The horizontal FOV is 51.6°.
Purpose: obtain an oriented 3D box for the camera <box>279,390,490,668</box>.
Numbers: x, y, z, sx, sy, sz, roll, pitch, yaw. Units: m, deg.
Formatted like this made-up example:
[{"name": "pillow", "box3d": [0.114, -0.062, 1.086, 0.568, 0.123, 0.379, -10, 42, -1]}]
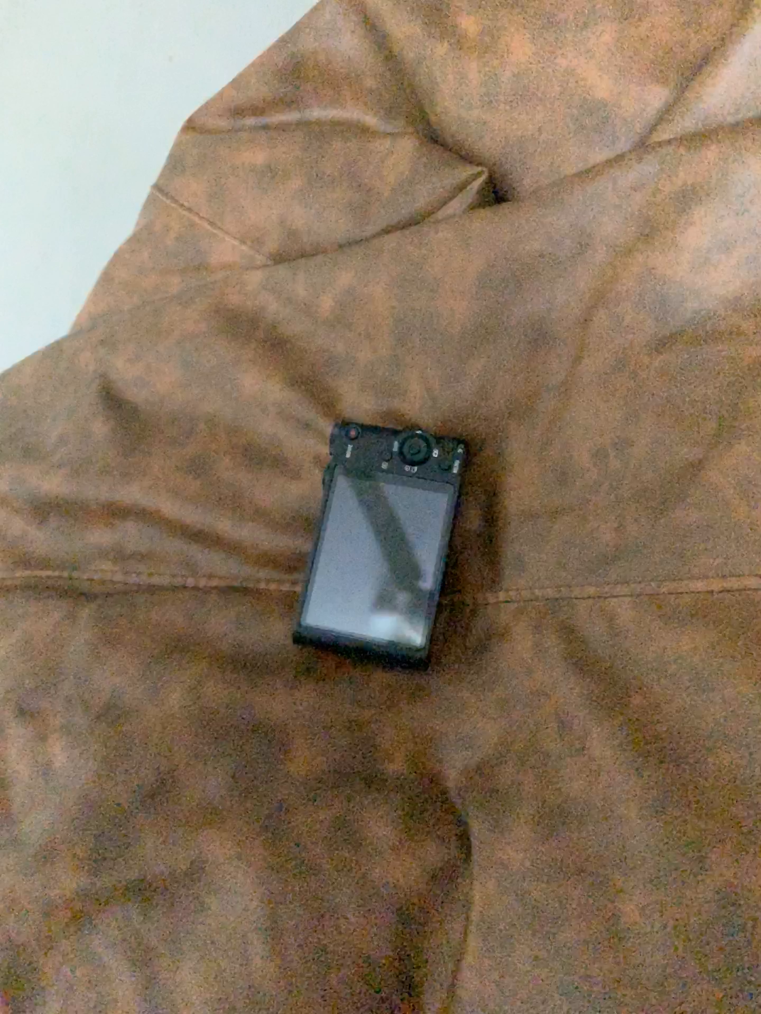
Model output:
[{"name": "camera", "box3d": [0.003, 0.008, 0.315, 0.060, 0.024, 0.100, 9, 78, 17]}]
